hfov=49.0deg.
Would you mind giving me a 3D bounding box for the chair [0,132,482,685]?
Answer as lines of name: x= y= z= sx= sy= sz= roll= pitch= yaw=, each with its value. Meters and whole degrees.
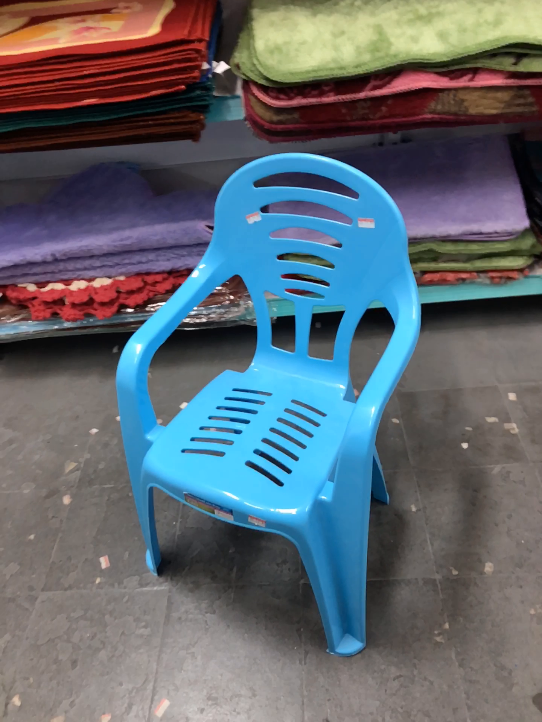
chair: x=-0.003 y=0.042 z=0.784 sx=0.401 sy=0.516 sz=0.392 roll=14 pitch=44 yaw=24
